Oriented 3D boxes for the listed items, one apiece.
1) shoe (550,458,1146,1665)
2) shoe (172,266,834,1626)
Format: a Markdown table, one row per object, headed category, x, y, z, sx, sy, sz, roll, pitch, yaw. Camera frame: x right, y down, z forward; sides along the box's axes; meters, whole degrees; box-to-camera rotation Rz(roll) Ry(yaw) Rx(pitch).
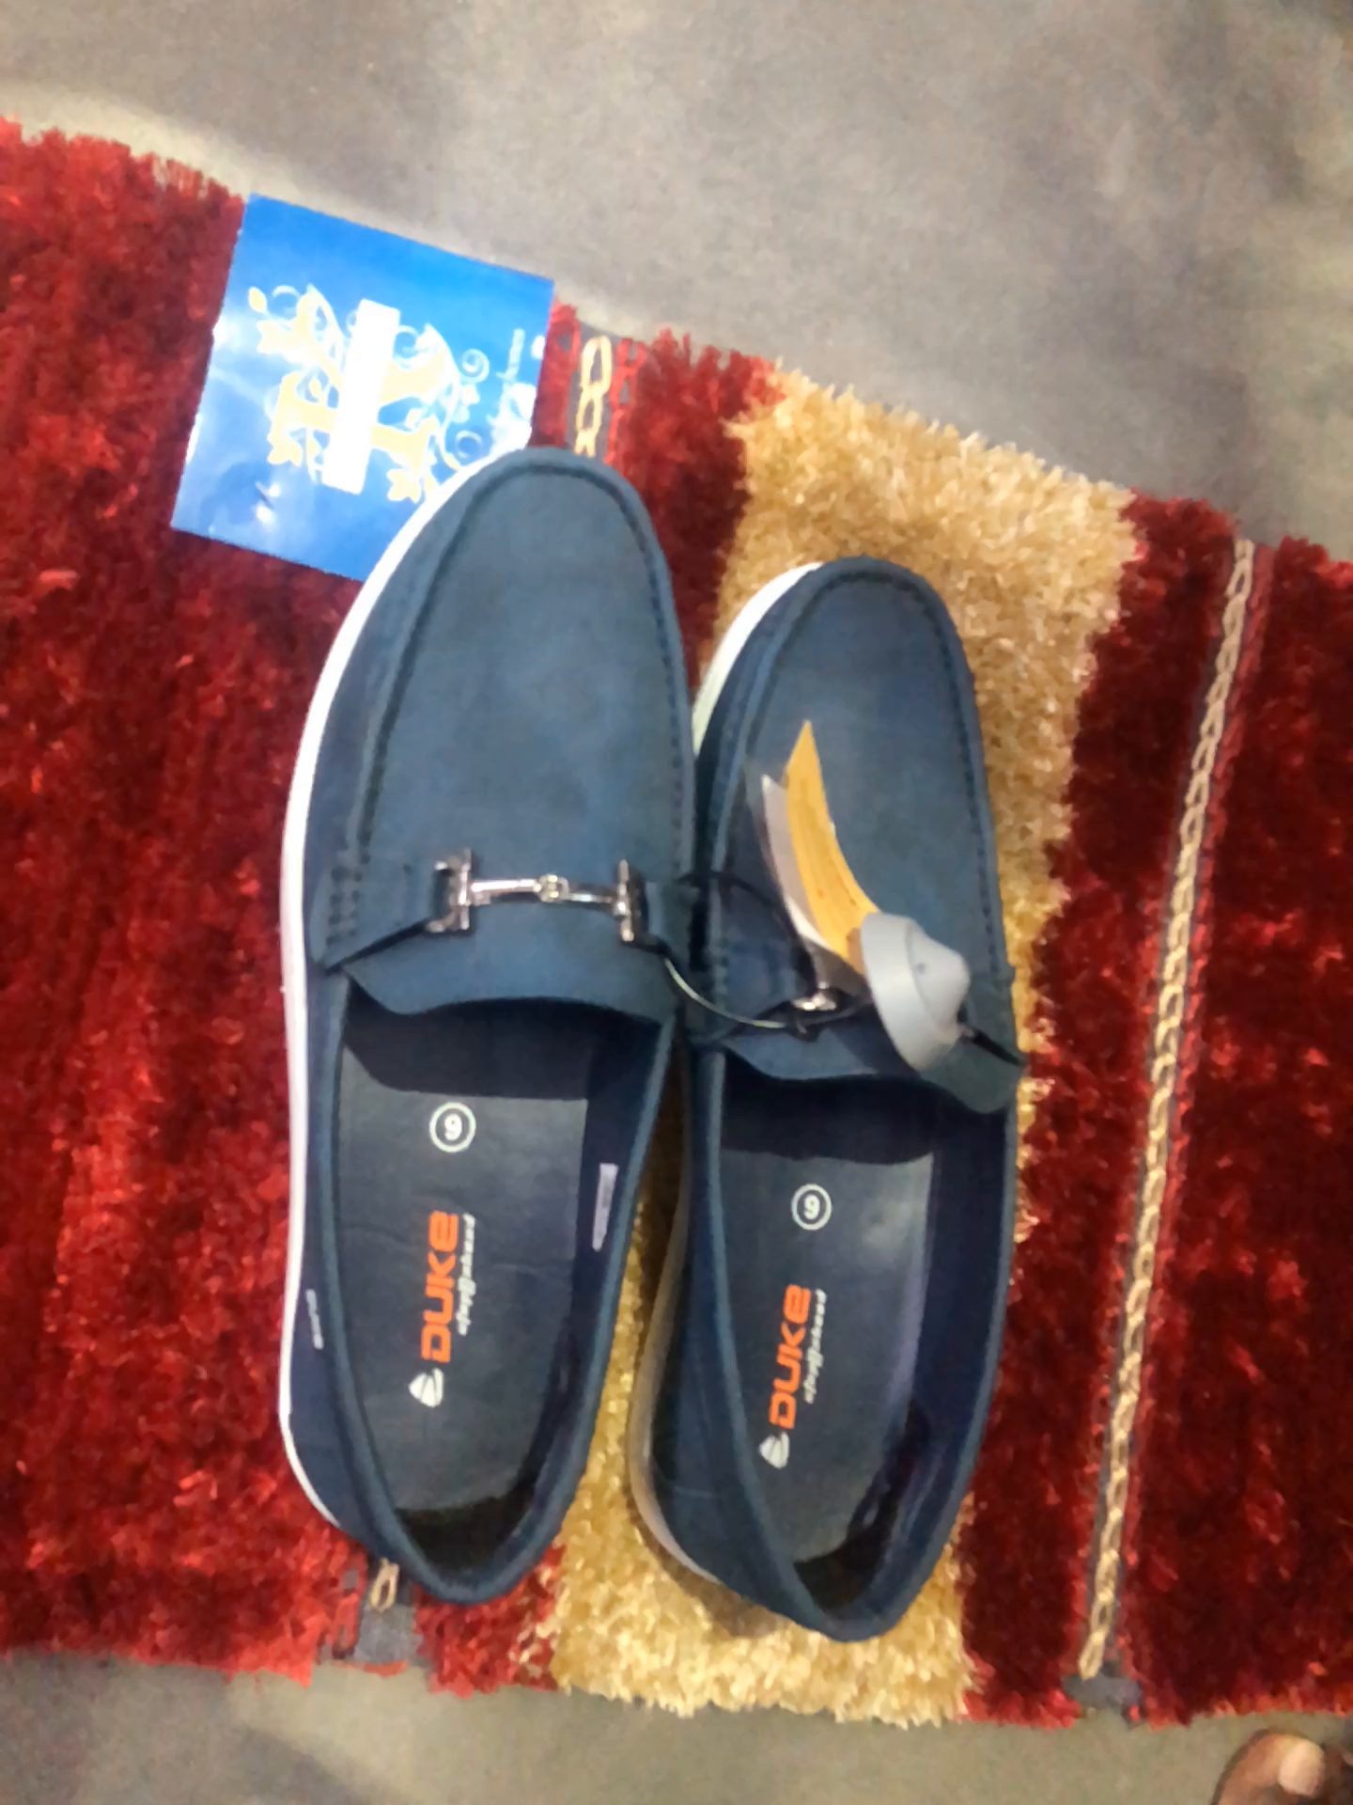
| category | x | y | z | sx | sy | sz | roll | pitch | yaw |
| --- | --- | --- | --- | --- | --- | --- | --- | --- | --- |
| shoe | 0.044 | 0.041 | 0.399 | 0.100 | 0.090 | 0.280 | 9 | 84 | -17 |
| shoe | -0.044 | 0.012 | 0.360 | 0.110 | 0.090 | 0.280 | 8 | 84 | -17 |
